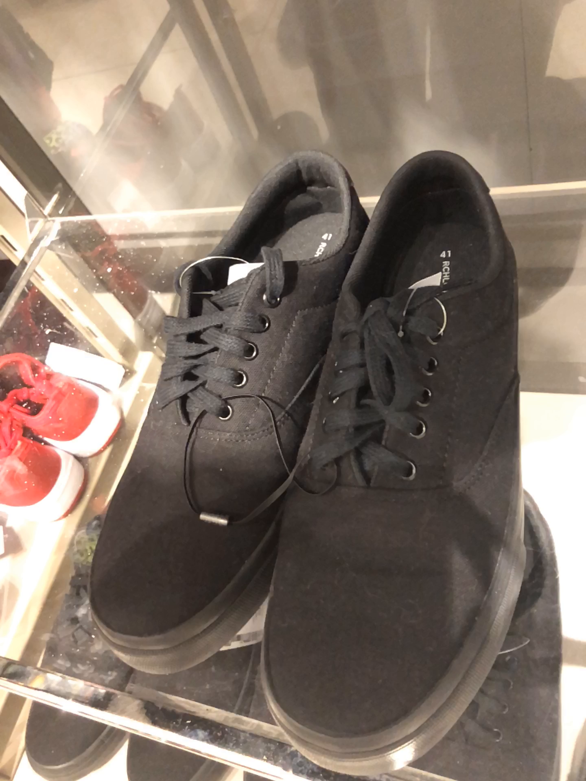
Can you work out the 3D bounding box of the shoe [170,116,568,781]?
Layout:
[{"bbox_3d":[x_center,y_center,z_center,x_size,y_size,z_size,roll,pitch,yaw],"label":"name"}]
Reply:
[{"bbox_3d":[0.067,0.021,0.325,0.110,0.109,0.321,3,59,25],"label":"shoe"}]

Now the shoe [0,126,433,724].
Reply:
[{"bbox_3d":[-0.021,0.000,0.383,0.110,0.109,0.321,8,62,27],"label":"shoe"}]
